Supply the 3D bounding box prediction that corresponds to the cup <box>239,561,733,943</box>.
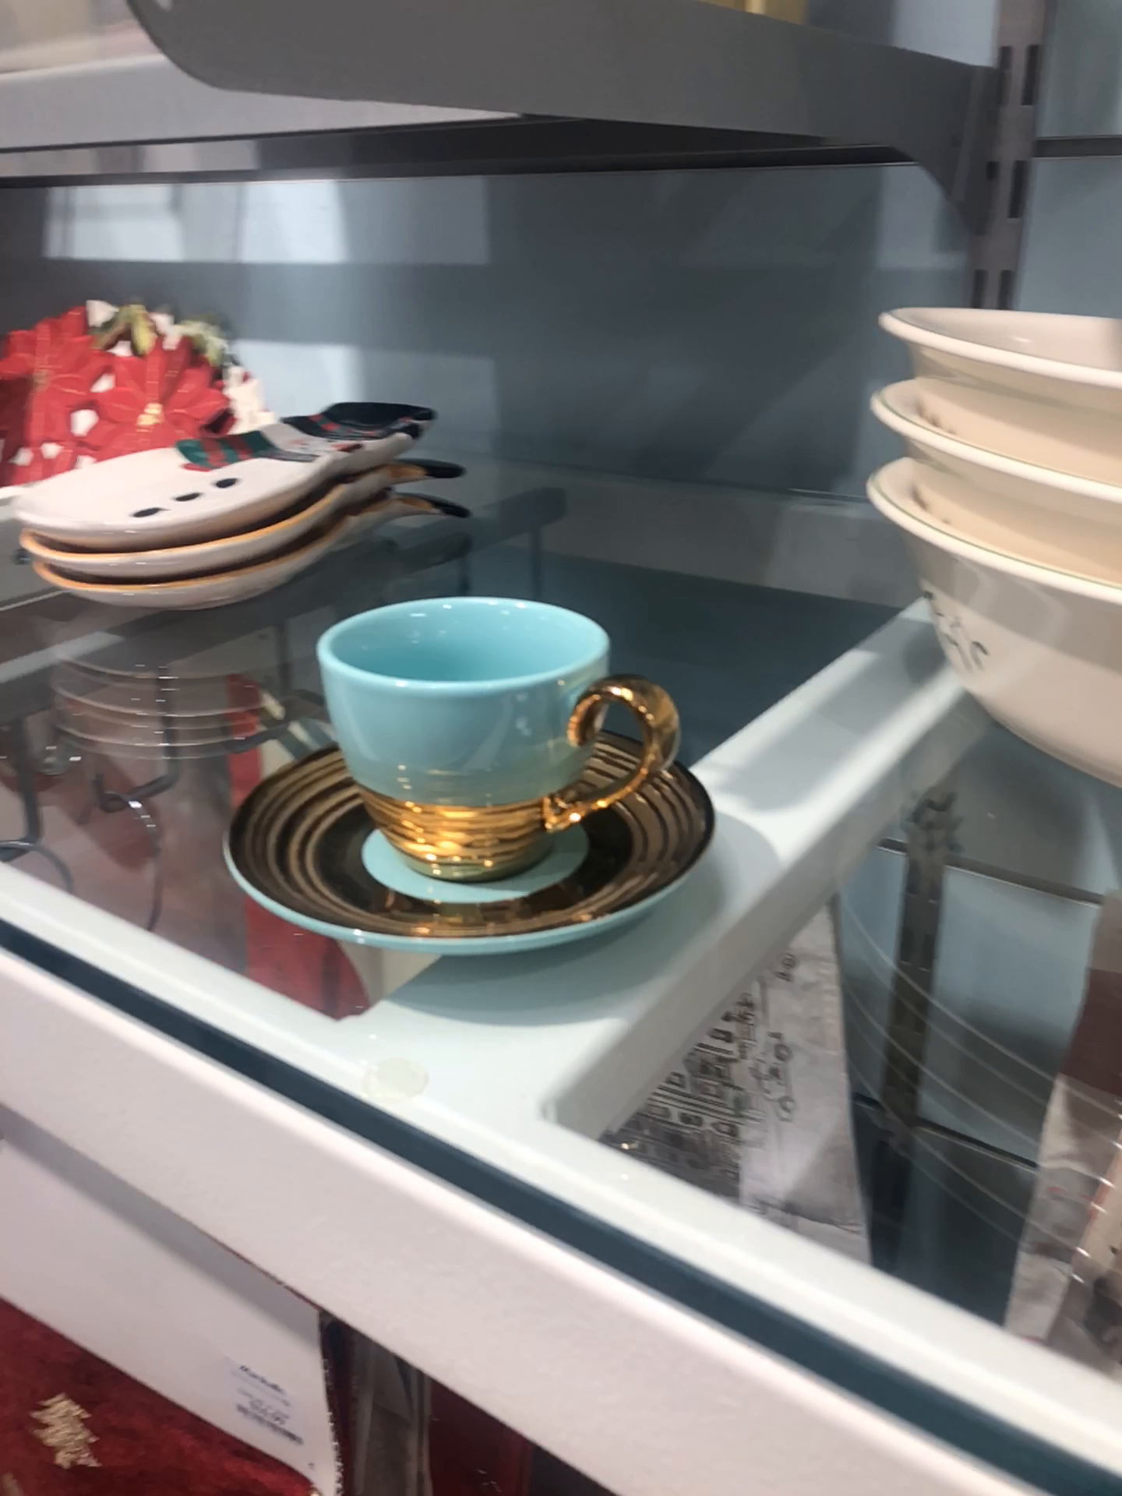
[{"bbox_3d":[-0.015,-0.005,0.282,0.084,0.050,0.070,13,27,28],"label":"cup"}]
